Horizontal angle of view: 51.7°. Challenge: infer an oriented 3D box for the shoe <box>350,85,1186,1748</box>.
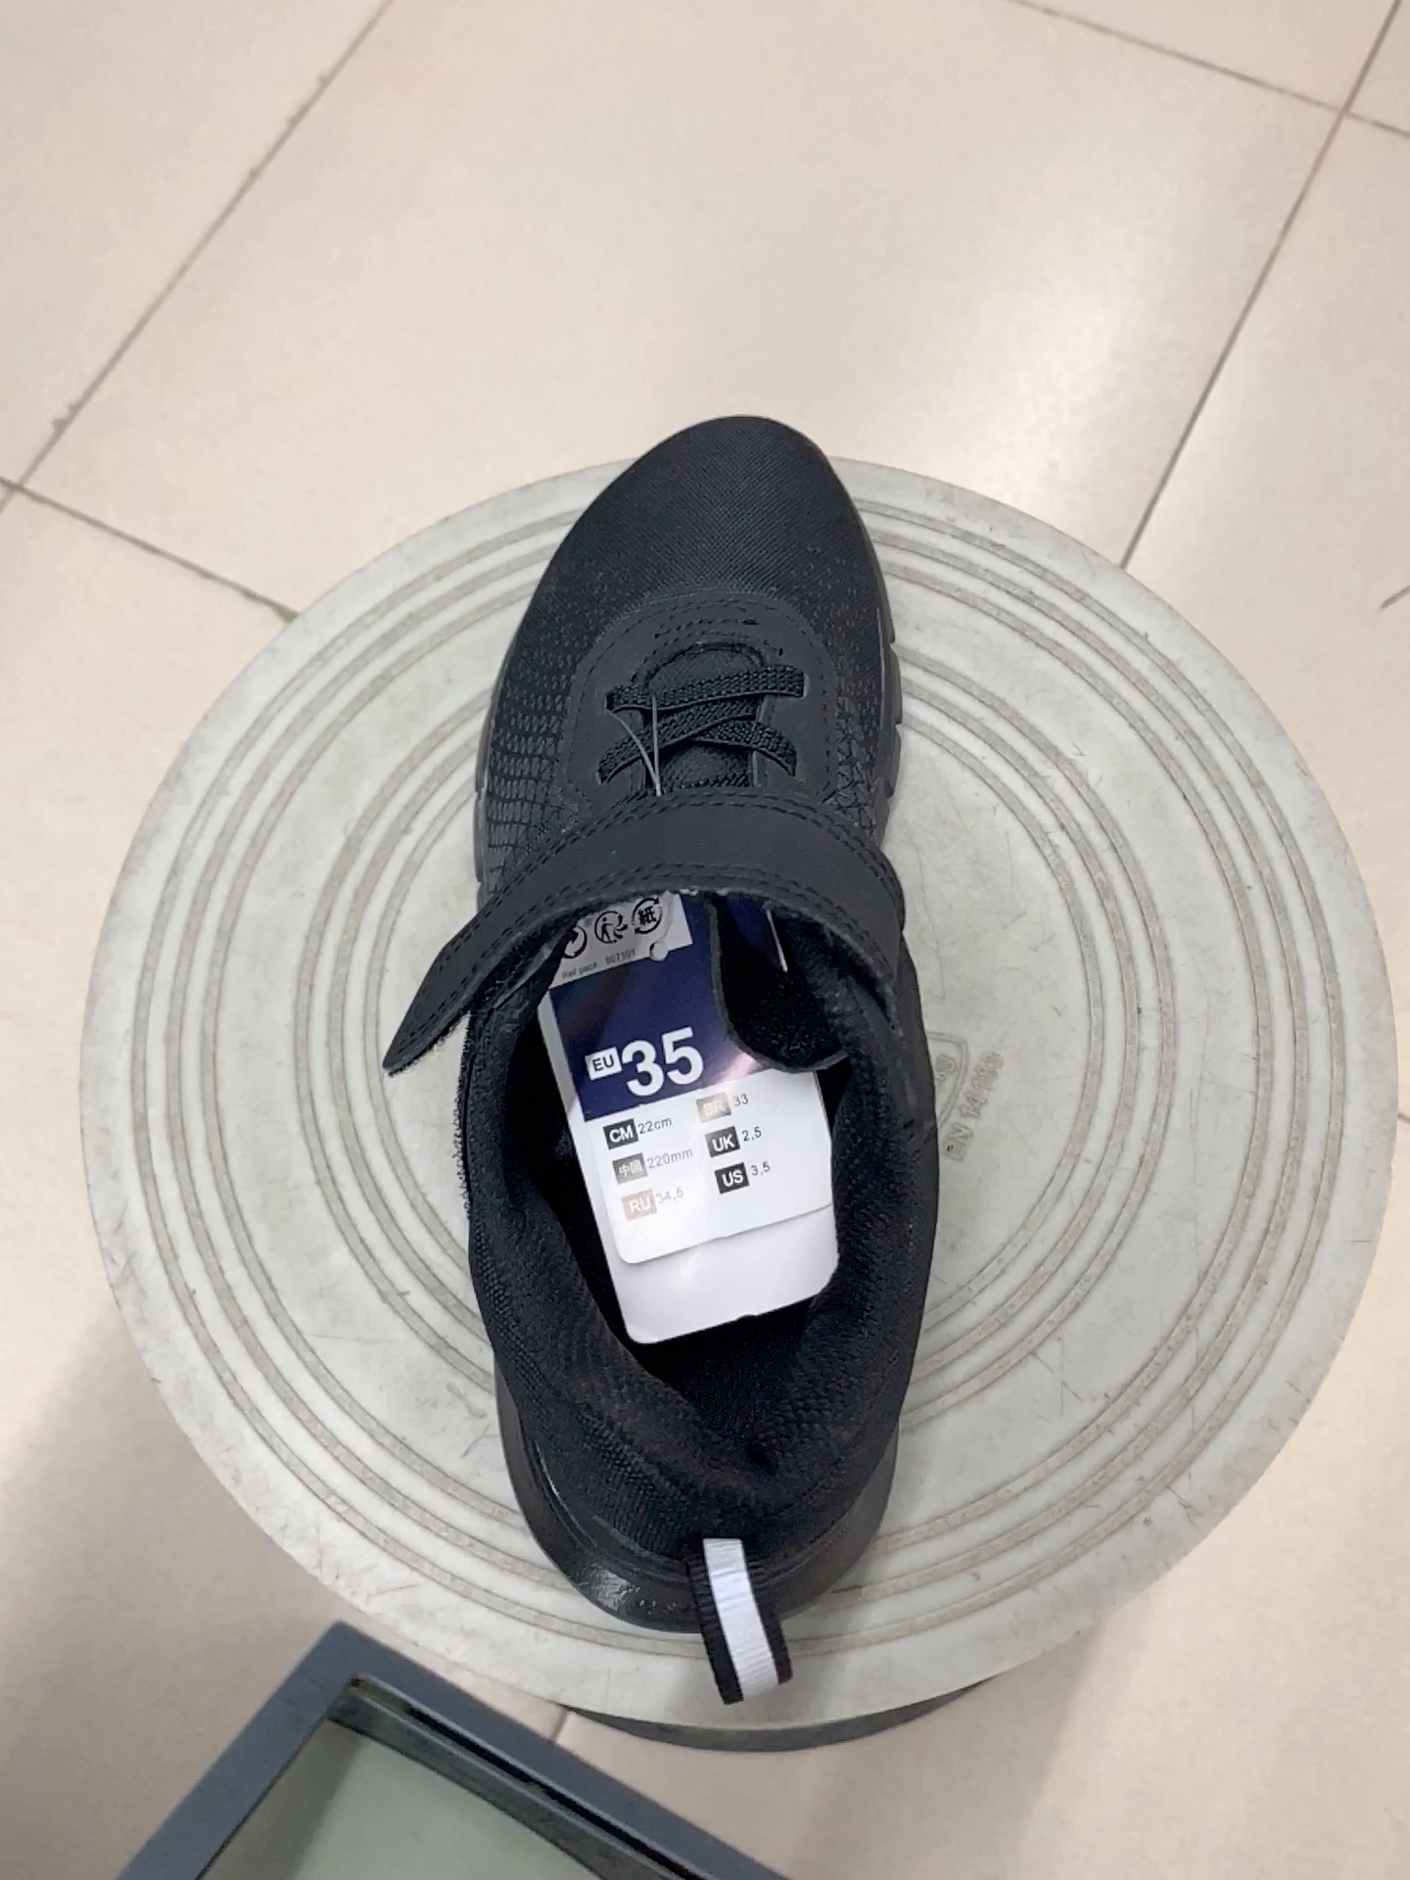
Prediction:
[{"bbox_3d":[-0.001,-0.013,0.251,0.100,0.080,0.250,-5,72,0],"label":"shoe"}]
